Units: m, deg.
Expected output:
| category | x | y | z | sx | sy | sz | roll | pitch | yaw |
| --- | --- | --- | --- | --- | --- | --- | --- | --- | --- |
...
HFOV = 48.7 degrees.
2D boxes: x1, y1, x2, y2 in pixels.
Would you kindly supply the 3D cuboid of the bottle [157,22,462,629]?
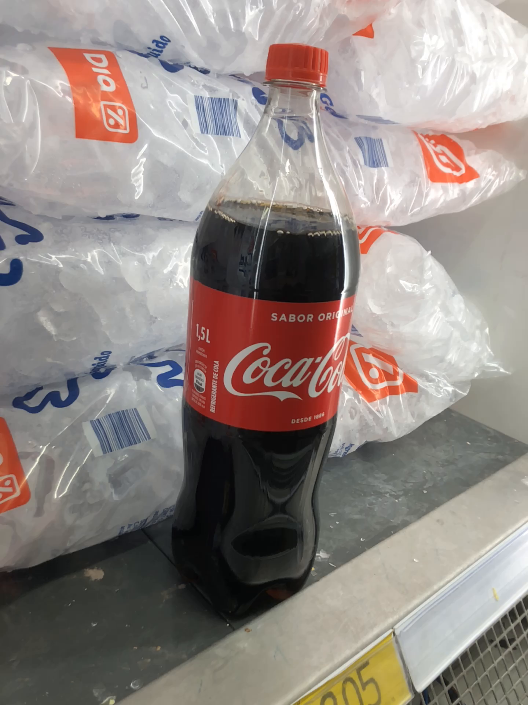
| category | x | y | z | sx | sy | sz | roll | pitch | yaw |
| --- | --- | --- | --- | --- | --- | --- | --- | --- | --- |
| bottle | 0.011 | -0.006 | 0.322 | 0.100 | 0.288 | 0.080 | -6 | 24 | -33 |
